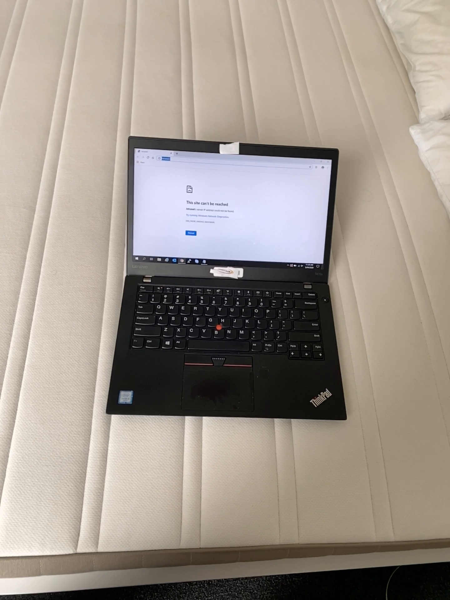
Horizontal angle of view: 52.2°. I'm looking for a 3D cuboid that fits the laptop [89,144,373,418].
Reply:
[{"bbox_3d":[0.005,-0.038,0.666,0.320,0.120,0.382,3,58,-5],"label":"laptop"}]
